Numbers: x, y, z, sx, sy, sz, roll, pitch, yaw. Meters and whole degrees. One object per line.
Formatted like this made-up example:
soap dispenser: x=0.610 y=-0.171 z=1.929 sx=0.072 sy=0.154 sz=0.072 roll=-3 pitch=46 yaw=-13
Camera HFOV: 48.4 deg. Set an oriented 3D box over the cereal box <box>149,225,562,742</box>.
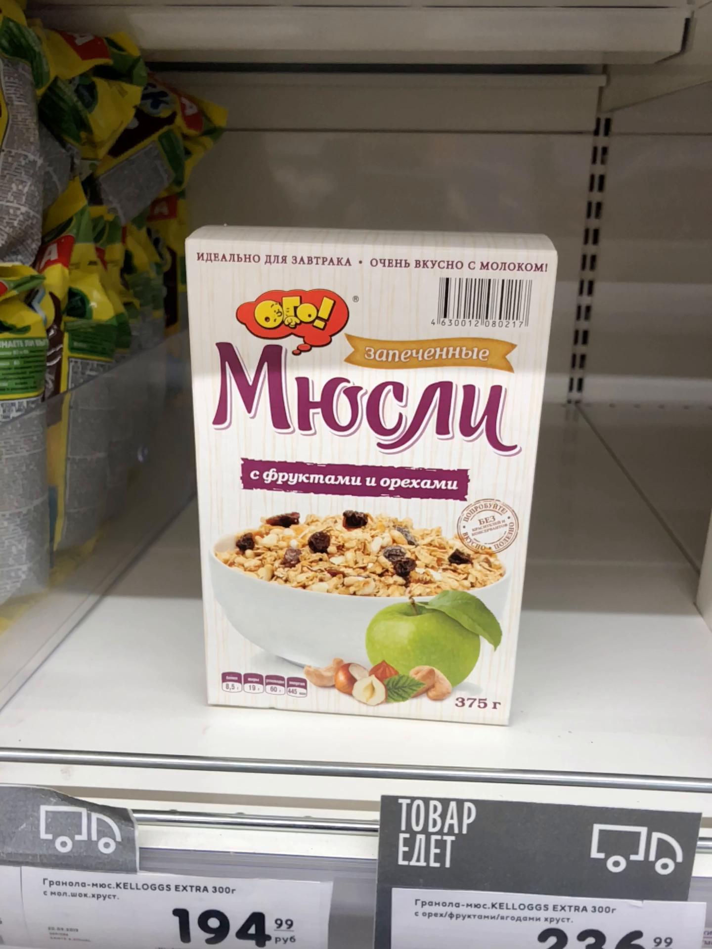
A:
cereal box: x=0.000 y=0.002 z=0.334 sx=0.140 sy=0.199 sz=0.070 roll=3 pitch=20 yaw=5
